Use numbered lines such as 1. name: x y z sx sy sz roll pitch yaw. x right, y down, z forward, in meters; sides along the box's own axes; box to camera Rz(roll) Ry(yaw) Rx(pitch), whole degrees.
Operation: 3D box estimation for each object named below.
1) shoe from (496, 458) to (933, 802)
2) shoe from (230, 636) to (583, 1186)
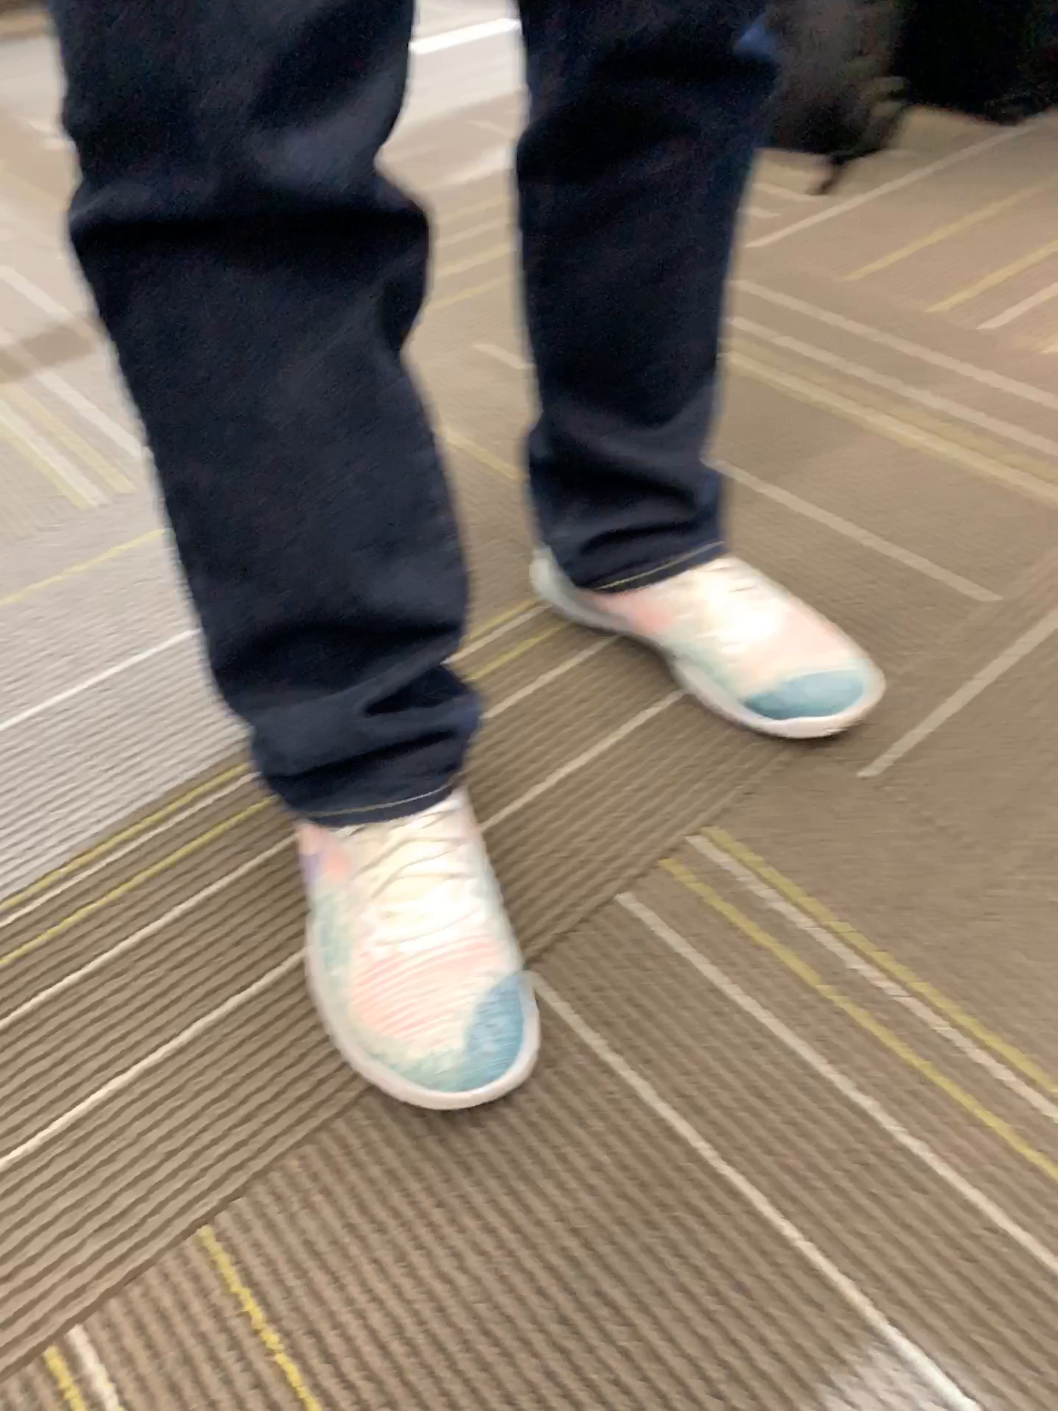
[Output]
1. shoe: 0.121 -0.067 0.783 0.123 0.078 0.291 -35 52 -27
2. shoe: -0.077 0.095 0.607 0.117 0.088 0.284 -16 45 -12
